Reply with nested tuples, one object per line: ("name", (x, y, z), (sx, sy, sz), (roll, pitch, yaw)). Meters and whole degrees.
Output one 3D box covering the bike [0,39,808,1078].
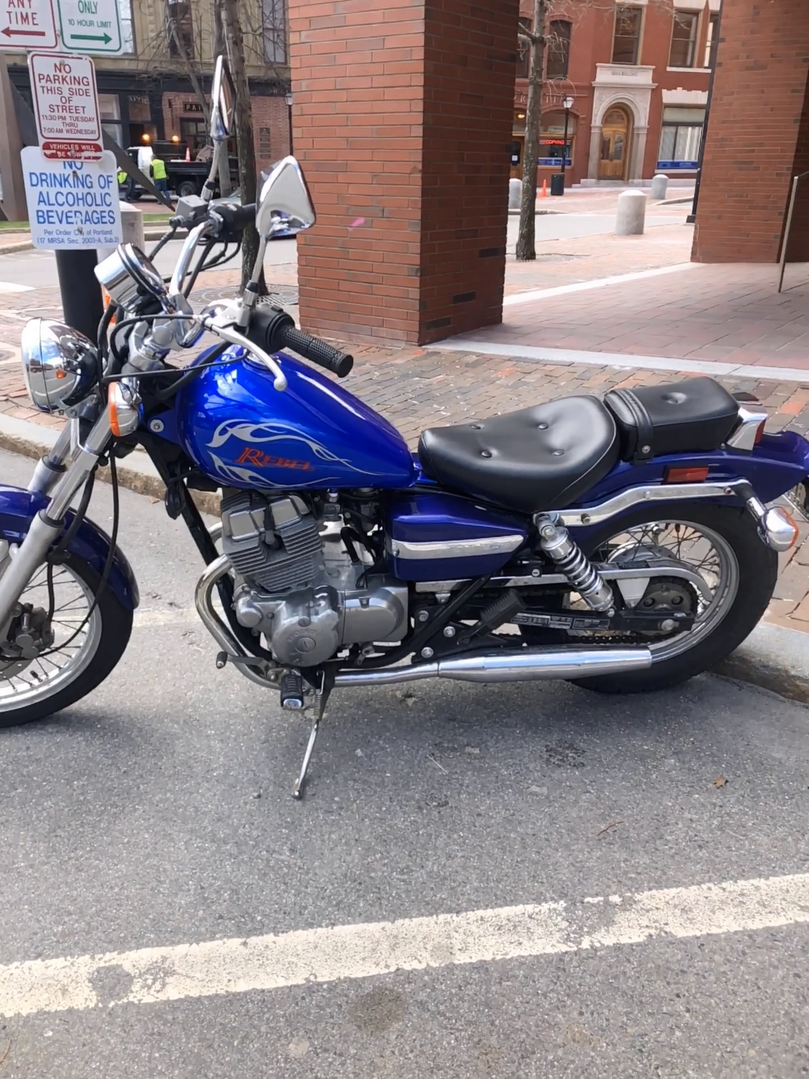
("bike", (-0.055, -0.027, 1.598), (2.026, 1.179, 0.929), (-2, 22, -15))
